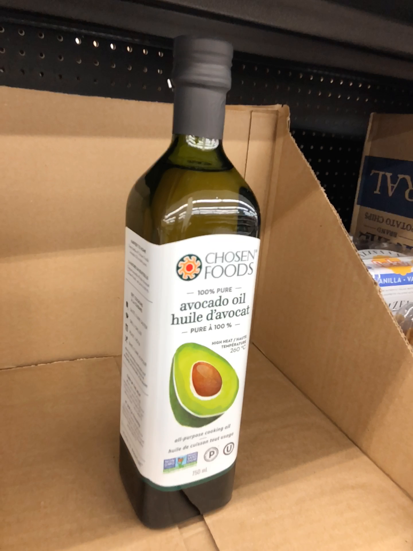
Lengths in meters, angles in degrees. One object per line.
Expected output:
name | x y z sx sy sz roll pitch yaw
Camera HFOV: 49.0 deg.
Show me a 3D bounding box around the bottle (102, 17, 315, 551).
bottle | -0.013 0.019 0.293 0.090 0.308 0.070 -5 22 -26
